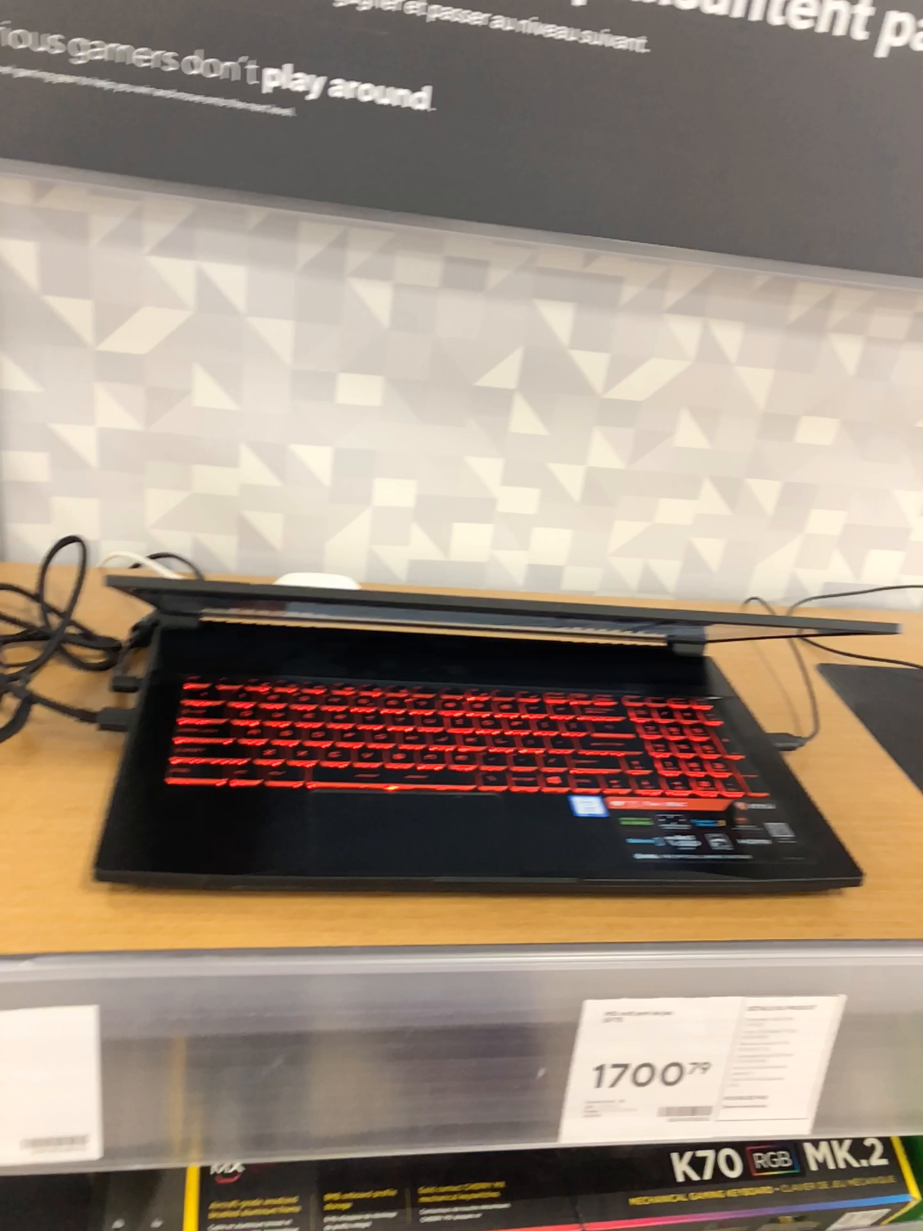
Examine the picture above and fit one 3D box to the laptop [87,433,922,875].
[{"bbox_3d":[0.014,0.013,0.589,0.393,0.133,0.249,3,28,-11],"label":"laptop"}]
